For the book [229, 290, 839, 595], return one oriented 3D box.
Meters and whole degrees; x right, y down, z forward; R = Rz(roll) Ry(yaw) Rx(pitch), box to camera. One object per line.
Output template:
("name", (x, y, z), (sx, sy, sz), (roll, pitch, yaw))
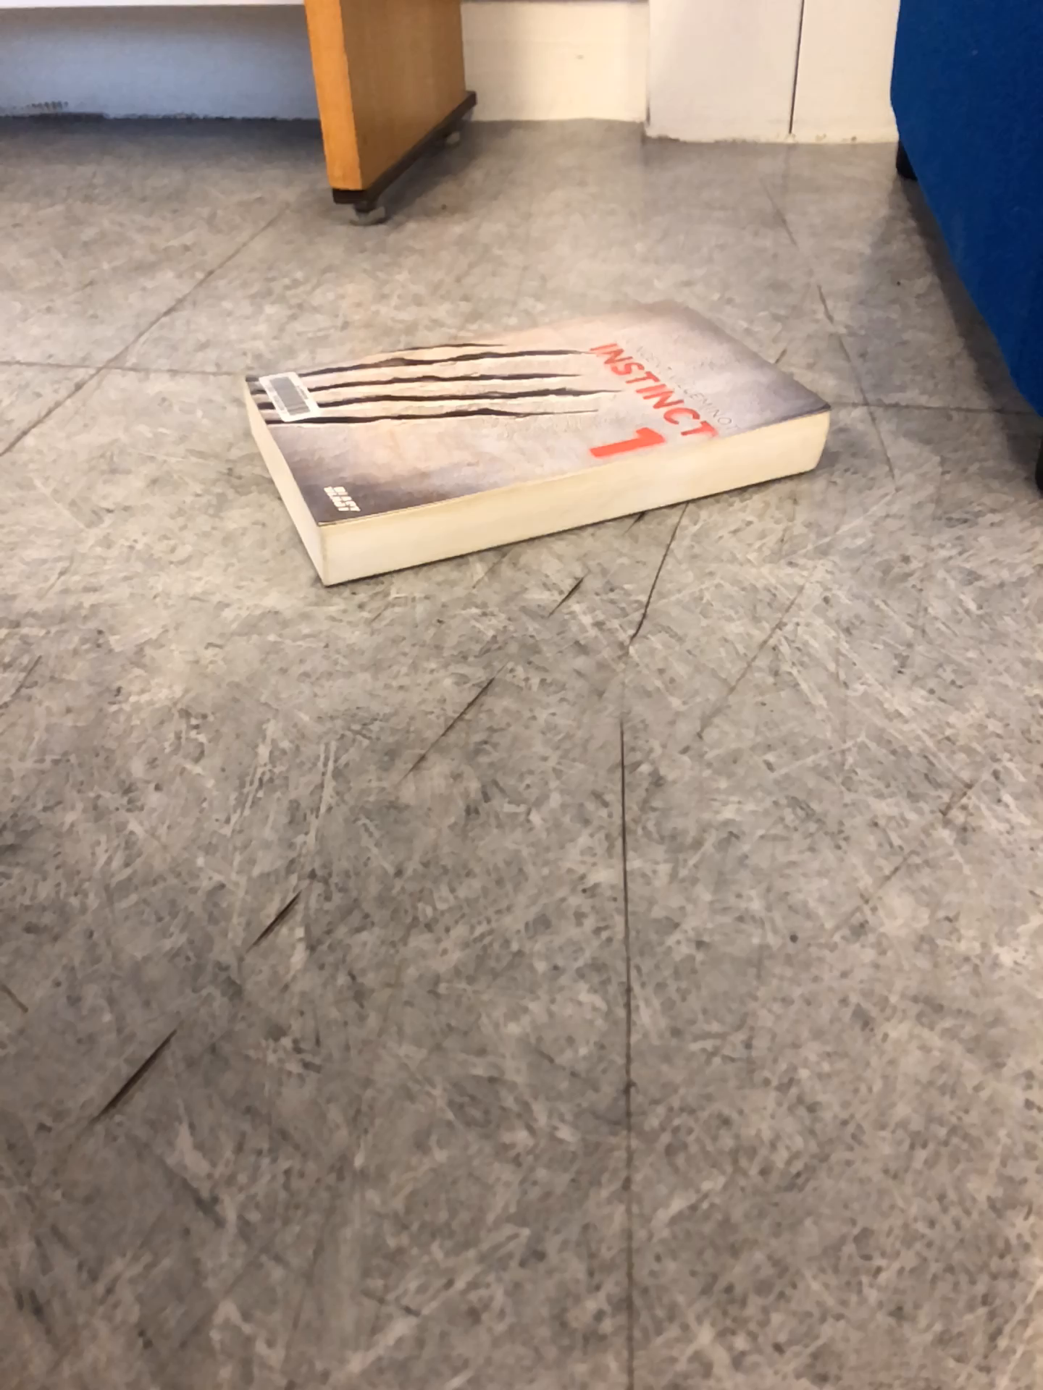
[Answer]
("book", (-0.001, -0.114, 0.475), (0.210, 0.028, 0.142), (-16, 40, -16))
